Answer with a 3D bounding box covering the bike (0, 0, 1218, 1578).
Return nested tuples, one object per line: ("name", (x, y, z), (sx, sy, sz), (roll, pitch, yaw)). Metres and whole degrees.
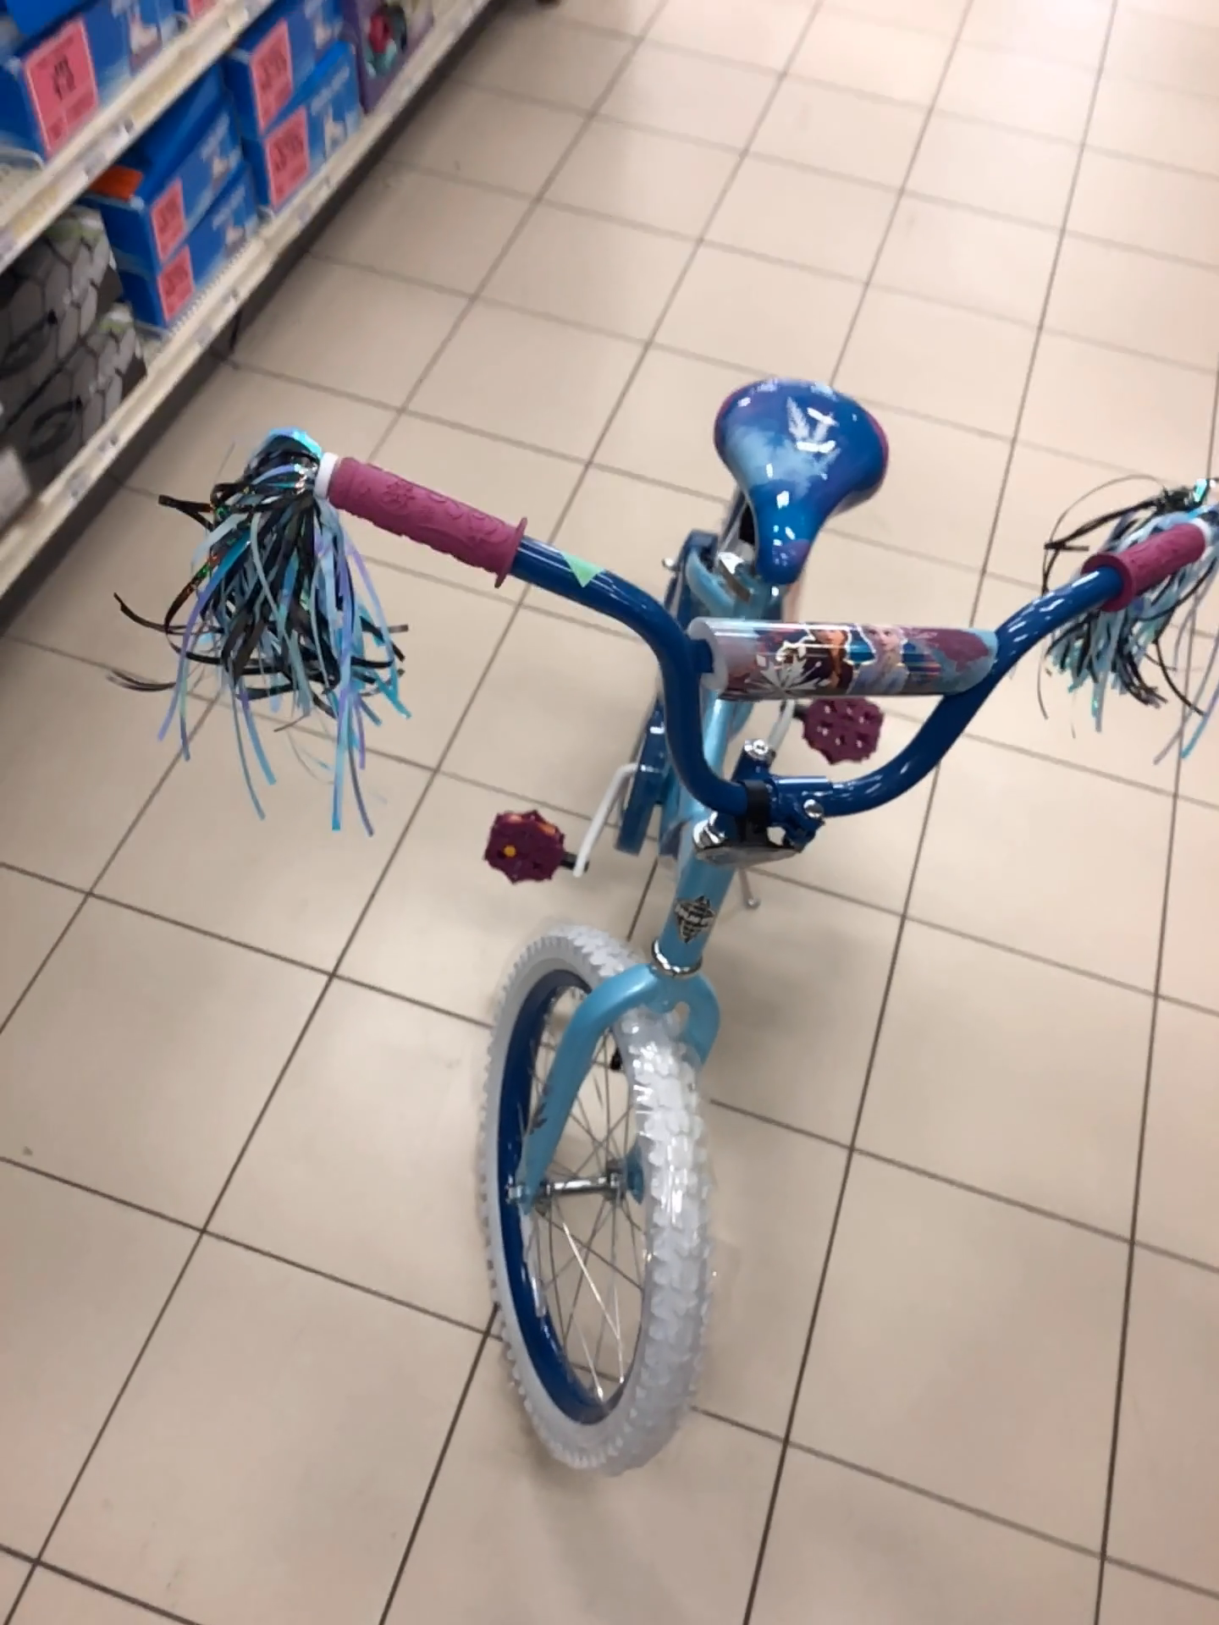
("bike", (0.140, -0.091, 1.165), (0.640, 0.955, 1.179), (9, 53, 1))
